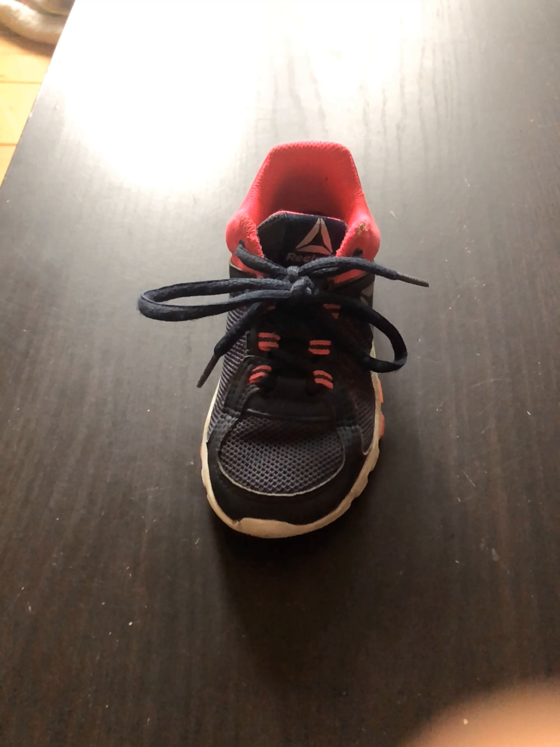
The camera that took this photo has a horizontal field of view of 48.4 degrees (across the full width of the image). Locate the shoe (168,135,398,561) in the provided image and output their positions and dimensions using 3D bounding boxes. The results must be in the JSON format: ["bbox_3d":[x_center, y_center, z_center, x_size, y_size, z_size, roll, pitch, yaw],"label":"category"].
[{"bbox_3d":[0.009,-0.020,0.297,0.080,0.070,0.193,4,58,3],"label":"shoe"}]
